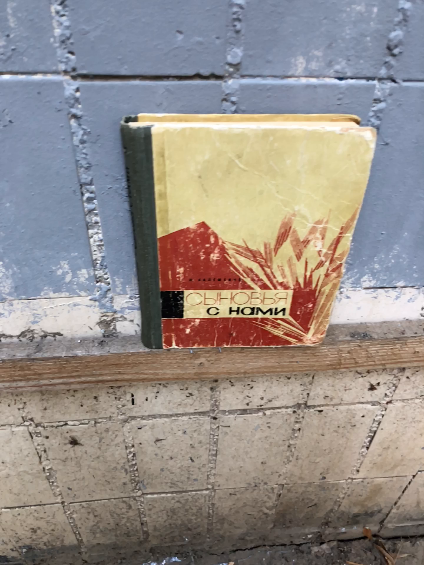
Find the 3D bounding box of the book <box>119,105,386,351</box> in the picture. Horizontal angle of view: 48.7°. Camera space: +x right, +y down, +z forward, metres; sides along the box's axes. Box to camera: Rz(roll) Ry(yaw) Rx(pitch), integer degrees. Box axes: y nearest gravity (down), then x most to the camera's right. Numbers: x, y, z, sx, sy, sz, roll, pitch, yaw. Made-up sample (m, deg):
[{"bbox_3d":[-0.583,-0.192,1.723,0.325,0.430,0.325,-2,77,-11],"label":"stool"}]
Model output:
[{"bbox_3d":[0.019,-0.027,0.304,0.140,0.162,0.032,-1,37,-4],"label":"book"}]
